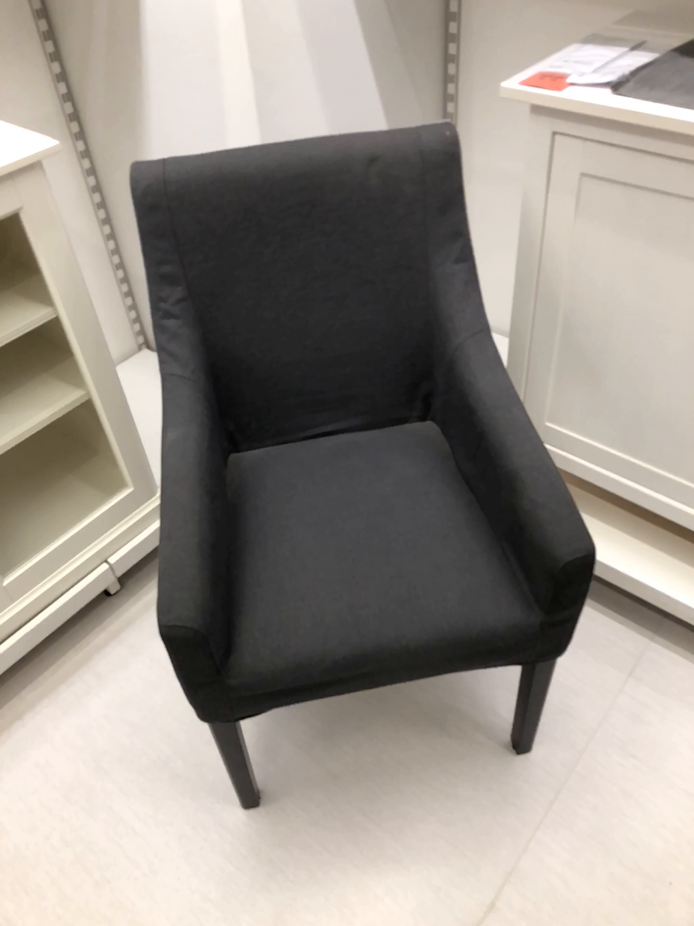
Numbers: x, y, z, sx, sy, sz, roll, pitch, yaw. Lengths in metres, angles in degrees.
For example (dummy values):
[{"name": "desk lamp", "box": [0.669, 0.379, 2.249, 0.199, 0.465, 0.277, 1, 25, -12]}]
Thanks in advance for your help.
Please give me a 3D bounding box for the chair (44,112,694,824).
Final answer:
[{"name": "chair", "box": [0.015, 0.035, 1.217, 0.610, 0.884, 0.624, -8, 43, -4]}]
